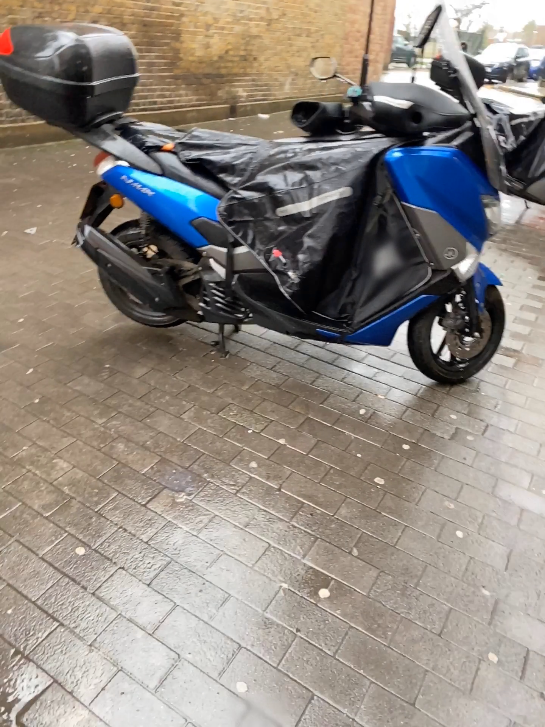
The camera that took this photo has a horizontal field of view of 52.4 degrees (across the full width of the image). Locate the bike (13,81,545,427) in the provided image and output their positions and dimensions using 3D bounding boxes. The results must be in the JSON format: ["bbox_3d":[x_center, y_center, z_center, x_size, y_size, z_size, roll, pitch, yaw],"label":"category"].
[{"bbox_3d":[0.102,-0.469,2.175,1.730,0.998,0.682,7,30,5],"label":"bike"}]
